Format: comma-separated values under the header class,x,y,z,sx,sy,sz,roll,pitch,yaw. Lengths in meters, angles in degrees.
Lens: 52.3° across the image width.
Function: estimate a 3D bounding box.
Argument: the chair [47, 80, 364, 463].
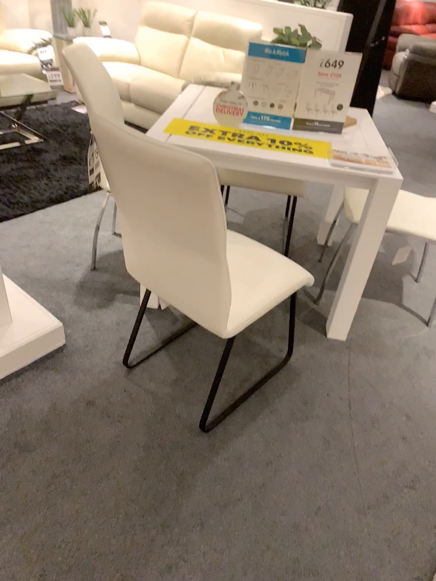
class,x,y,z,sx,sy,sz,roll,pitch,yaw
chair,-0.049,-0.092,1.401,0.542,0.891,0.634,29,41,27
